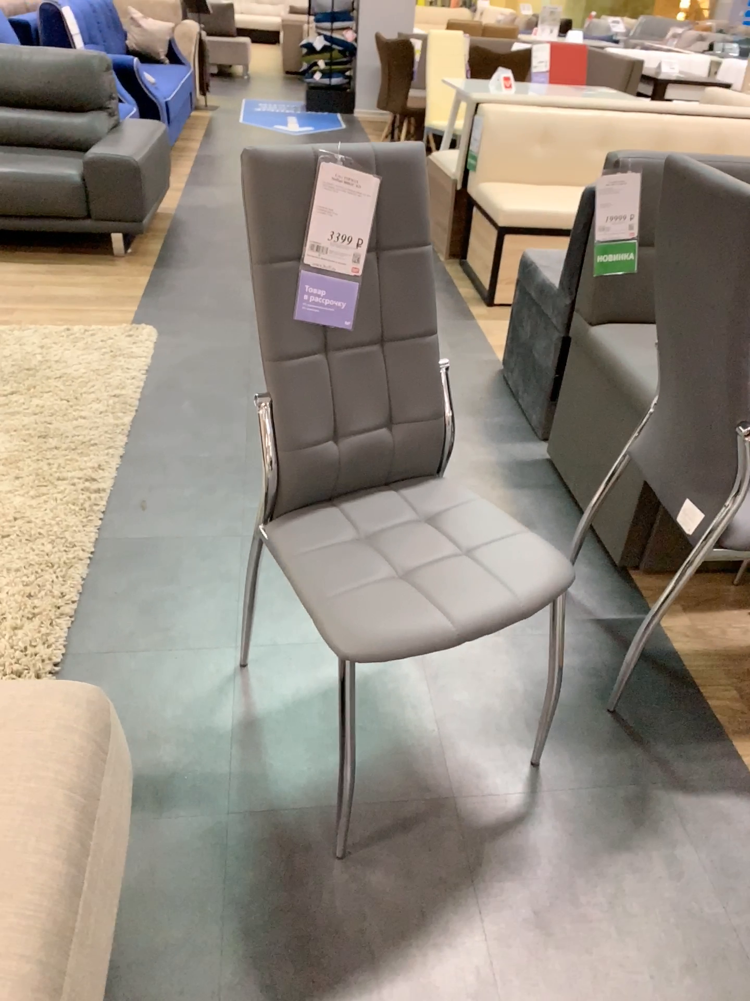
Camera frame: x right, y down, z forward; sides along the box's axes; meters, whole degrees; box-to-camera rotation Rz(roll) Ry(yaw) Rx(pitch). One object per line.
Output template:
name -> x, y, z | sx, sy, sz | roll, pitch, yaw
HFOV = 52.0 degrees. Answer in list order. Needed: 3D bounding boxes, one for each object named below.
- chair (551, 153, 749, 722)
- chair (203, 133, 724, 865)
chair -> 0.775, -0.084, 1.541 | 0.550, 1.024, 0.453 | 1, 34, -5
chair -> 0.052, -0.007, 1.293 | 0.471, 1.024, 0.532 | -14, 38, -25
